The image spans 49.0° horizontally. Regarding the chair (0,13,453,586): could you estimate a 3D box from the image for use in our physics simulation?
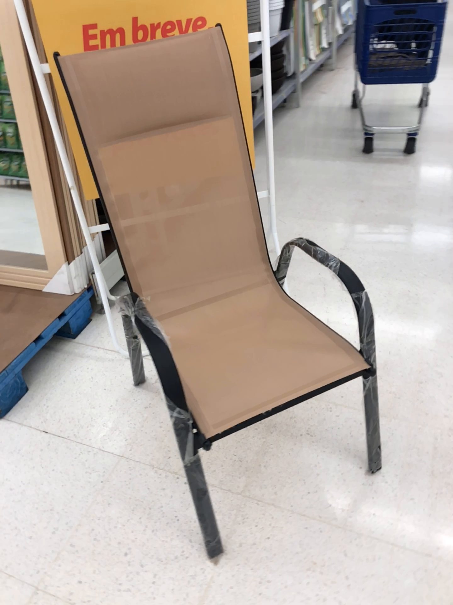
[{"bbox_3d":[-0.010,-0.045,1.163,0.621,0.973,0.705,-19,39,-17],"label":"chair"}]
